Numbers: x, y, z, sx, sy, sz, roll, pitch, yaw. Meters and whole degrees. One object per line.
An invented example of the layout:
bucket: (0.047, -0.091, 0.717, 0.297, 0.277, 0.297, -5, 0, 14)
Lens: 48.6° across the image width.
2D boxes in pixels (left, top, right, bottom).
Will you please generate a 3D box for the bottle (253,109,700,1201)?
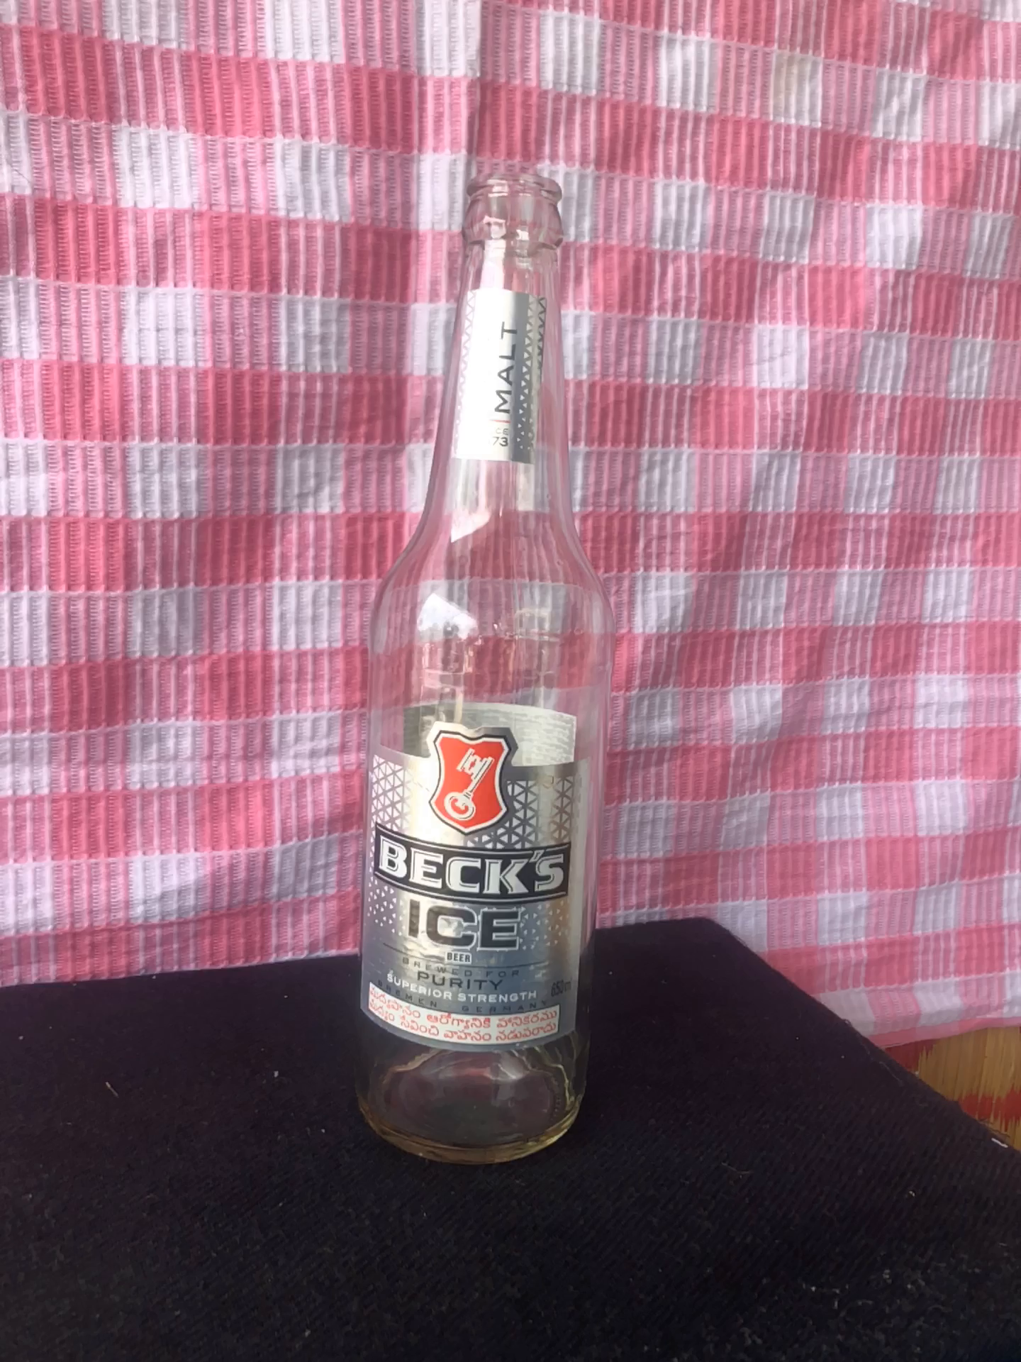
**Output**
bottle: (-0.009, -0.005, 0.323, 0.090, 0.269, 0.080, 7, 12, 11)
